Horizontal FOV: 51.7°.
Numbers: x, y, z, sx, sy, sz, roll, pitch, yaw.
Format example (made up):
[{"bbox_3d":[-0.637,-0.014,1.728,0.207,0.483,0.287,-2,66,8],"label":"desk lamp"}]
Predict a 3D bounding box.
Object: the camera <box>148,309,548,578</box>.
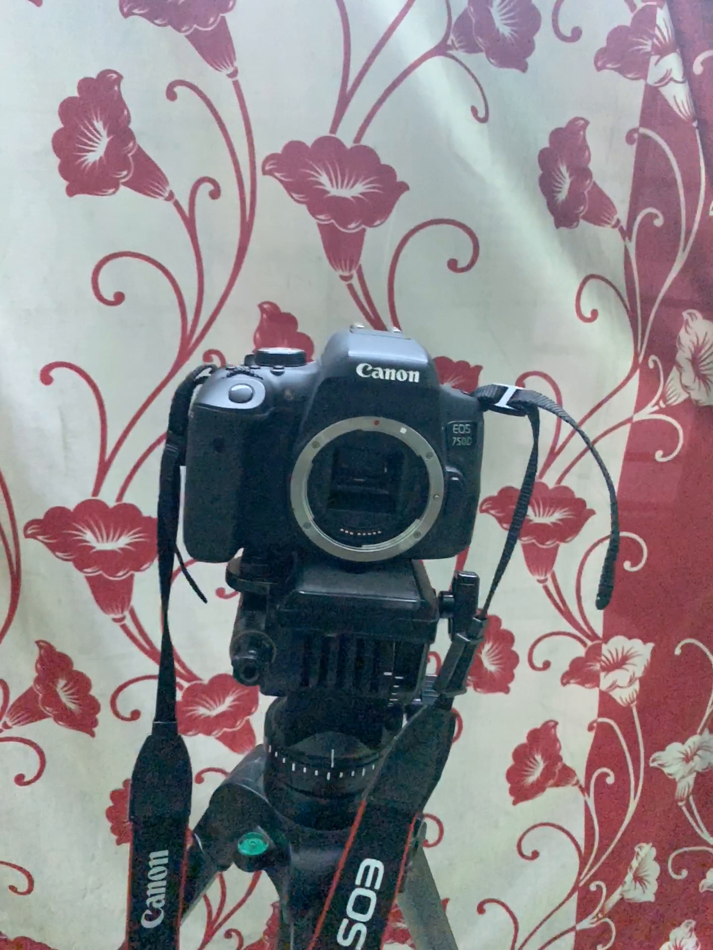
[{"bbox_3d":[-0.008,-0.017,0.314,0.142,0.088,0.085,3,15,-7],"label":"camera"}]
